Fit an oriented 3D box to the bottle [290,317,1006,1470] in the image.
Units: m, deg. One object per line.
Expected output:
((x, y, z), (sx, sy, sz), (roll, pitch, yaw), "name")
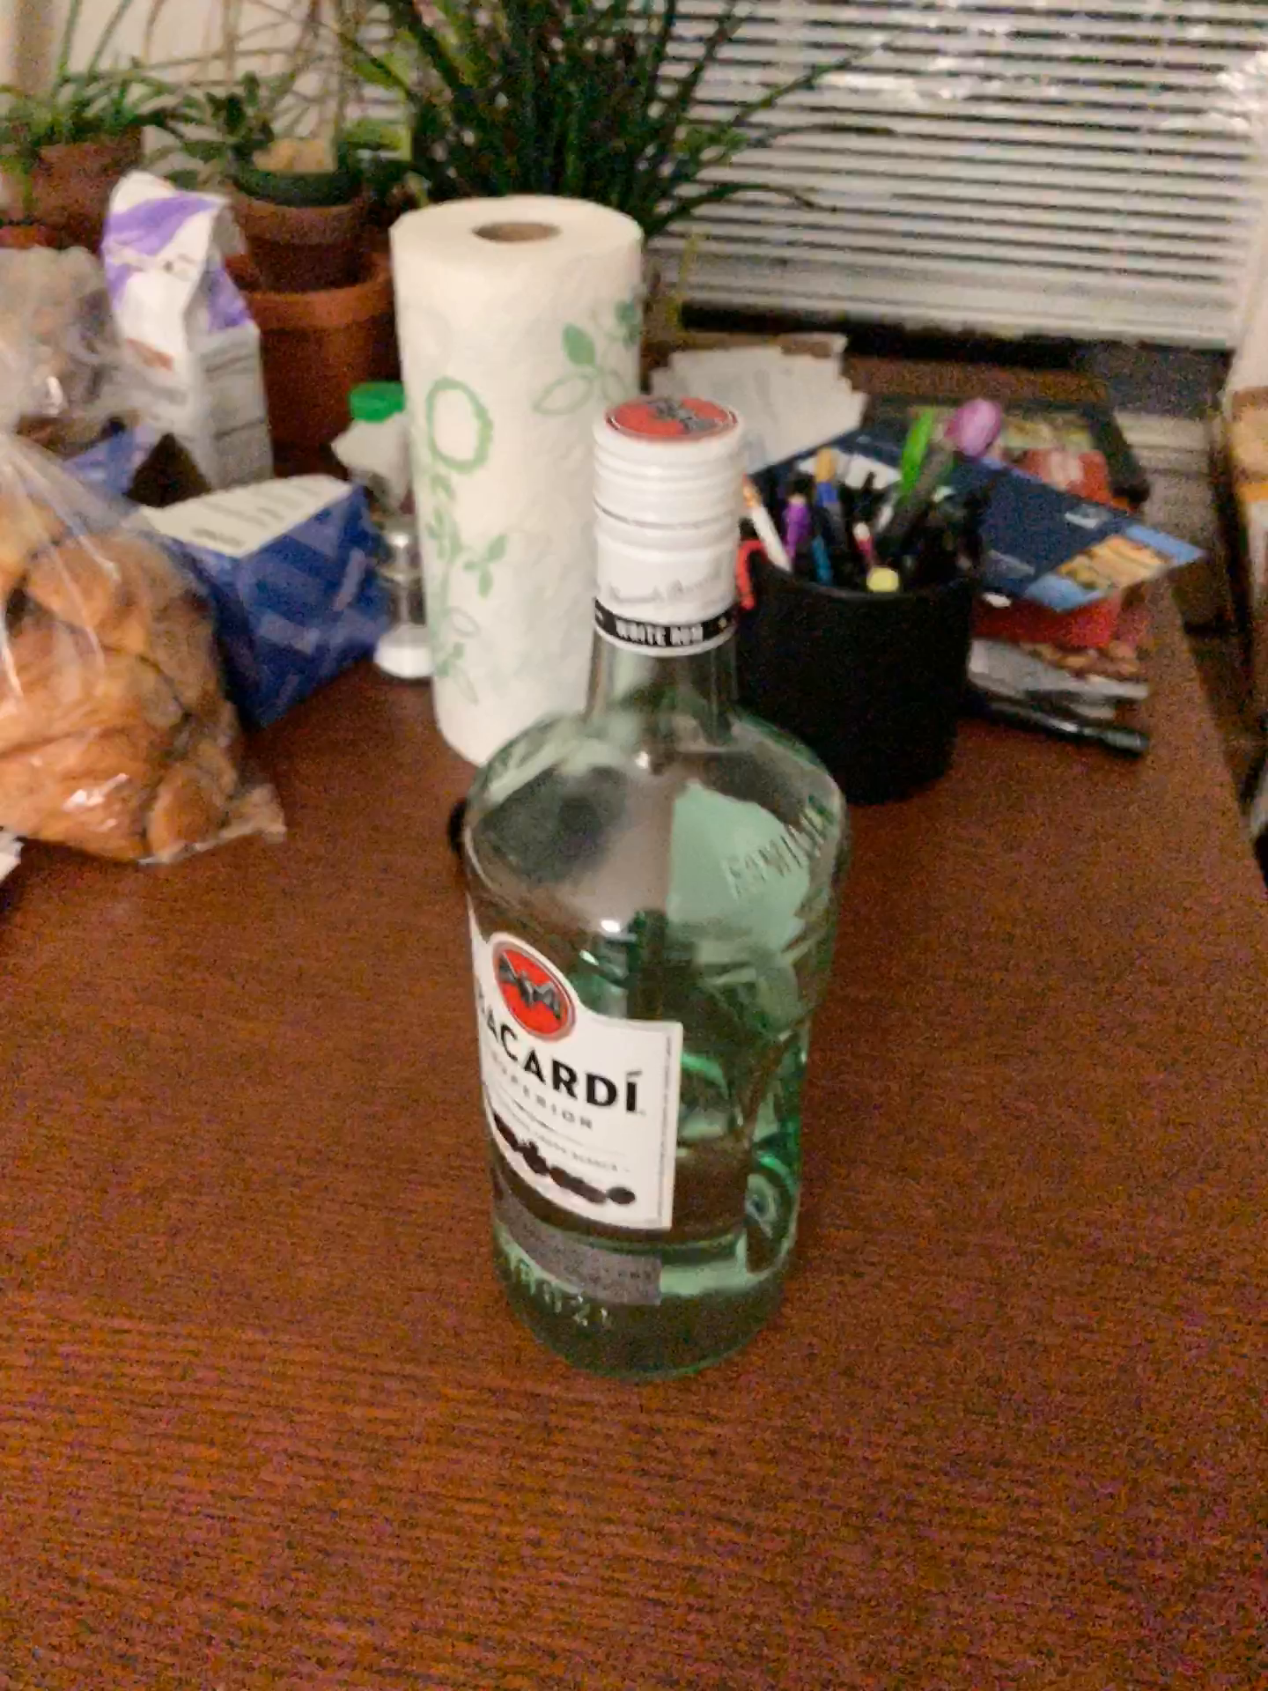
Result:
((0.002, 0.030, 0.412), (0.120, 0.328, 0.120), (1, 38, -1), "bottle")
